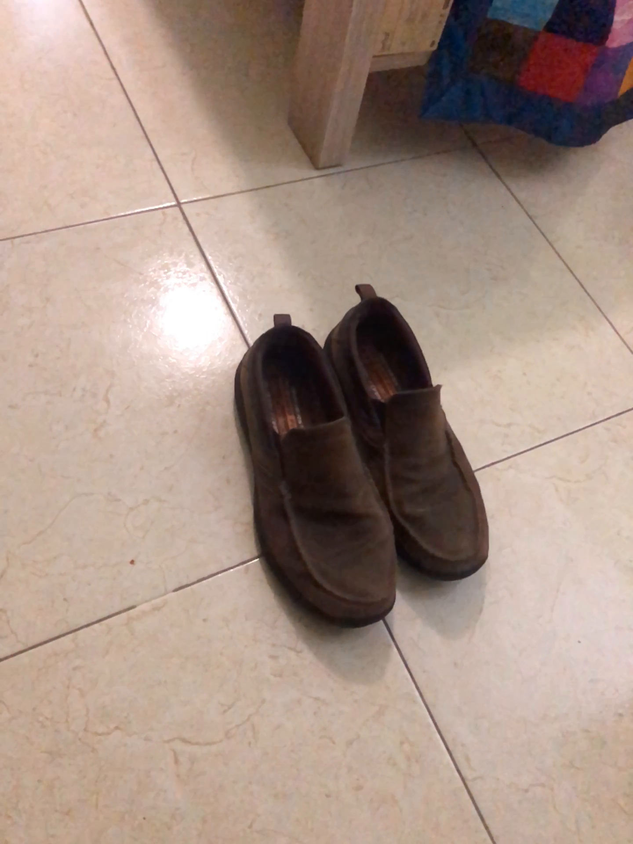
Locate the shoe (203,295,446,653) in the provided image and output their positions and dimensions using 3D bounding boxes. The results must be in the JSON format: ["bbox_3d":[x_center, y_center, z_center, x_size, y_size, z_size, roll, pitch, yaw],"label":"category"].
[{"bbox_3d":[-0.008,0.039,0.652,0.120,0.100,0.300,-12,64,-17],"label":"shoe"}]

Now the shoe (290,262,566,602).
[{"bbox_3d":[0.093,0.000,0.685,0.130,0.100,0.300,-15,64,-18],"label":"shoe"}]
